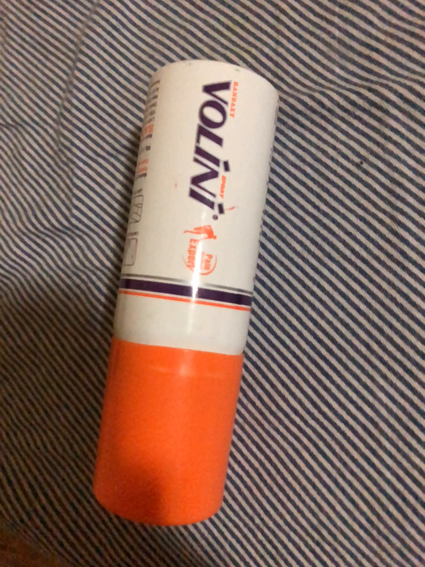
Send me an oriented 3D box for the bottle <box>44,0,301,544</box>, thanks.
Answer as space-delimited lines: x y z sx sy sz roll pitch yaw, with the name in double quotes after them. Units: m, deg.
-0.010 -0.004 0.126 0.040 0.040 0.120 8 87 -8 "bottle"
